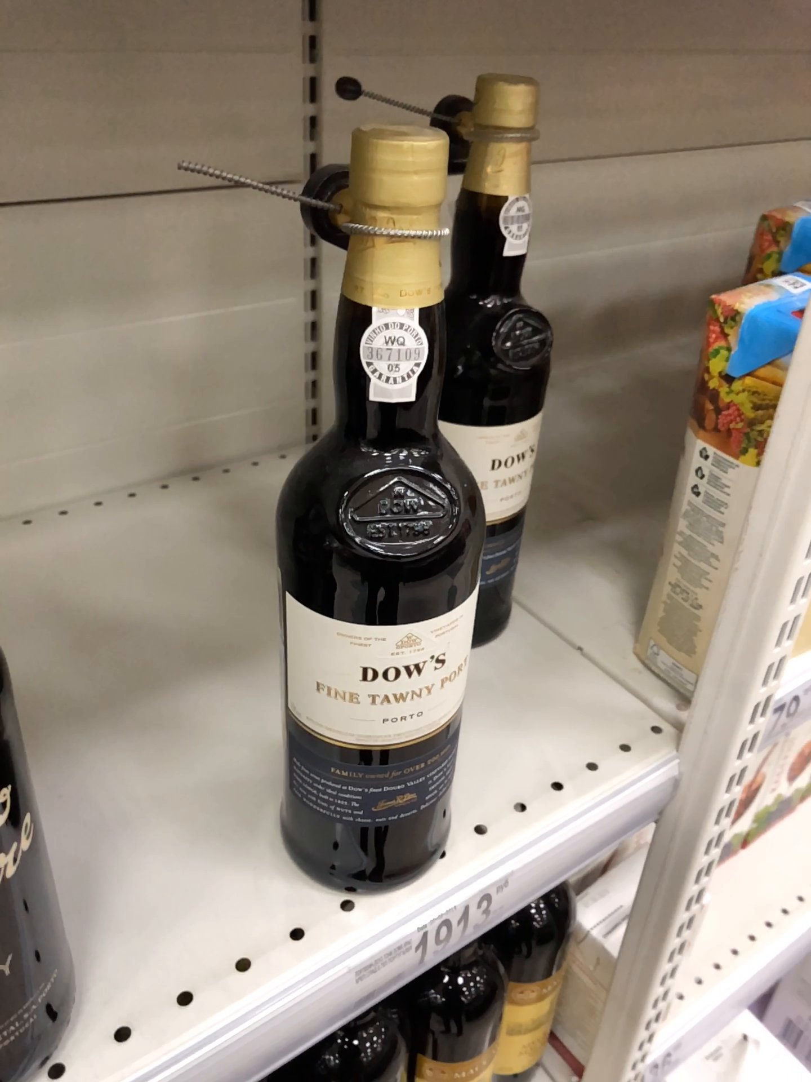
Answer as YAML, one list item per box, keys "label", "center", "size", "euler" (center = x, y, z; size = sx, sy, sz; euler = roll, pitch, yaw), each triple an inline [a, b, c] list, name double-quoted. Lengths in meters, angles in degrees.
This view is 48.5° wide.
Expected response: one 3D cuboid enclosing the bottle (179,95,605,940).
- label: "bottle"
  center: [-0.014, 0.003, 0.338]
  size: [0.090, 0.296, 0.090]
  euler: [2, 32, -1]
